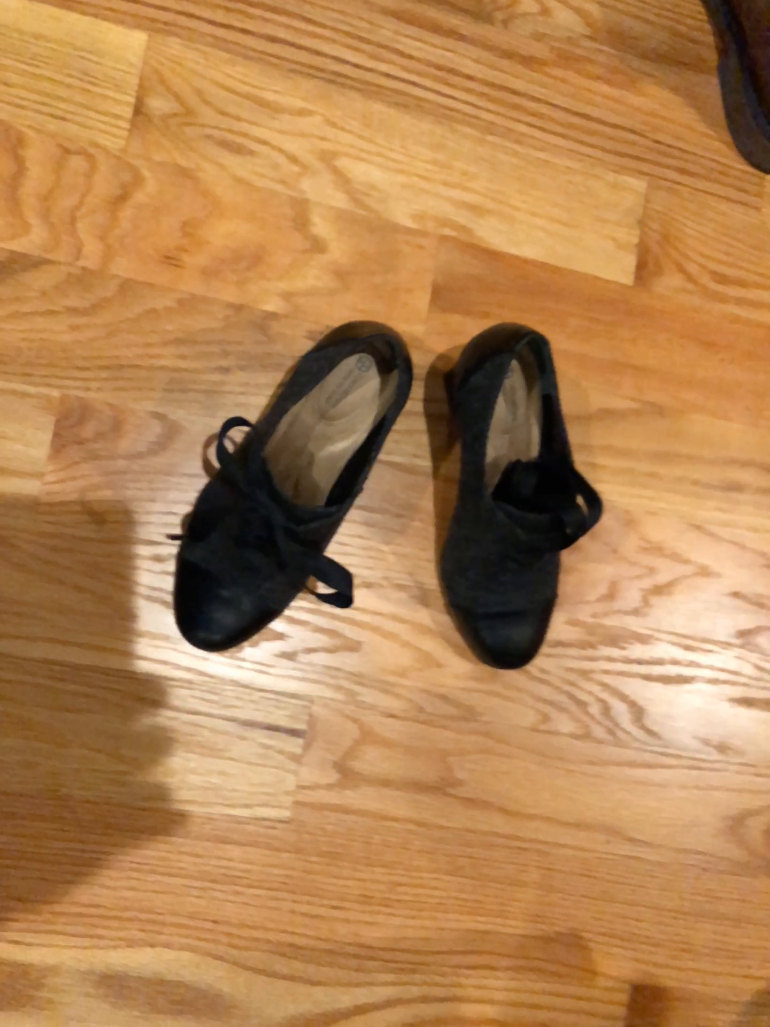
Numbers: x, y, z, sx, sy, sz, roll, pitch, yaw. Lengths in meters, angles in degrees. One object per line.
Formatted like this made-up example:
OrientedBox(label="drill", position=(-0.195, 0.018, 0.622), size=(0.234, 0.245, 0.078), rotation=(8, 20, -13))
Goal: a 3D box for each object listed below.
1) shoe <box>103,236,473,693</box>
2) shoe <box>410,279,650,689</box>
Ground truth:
OrientedBox(label="shoe", position=(-0.058, -0.025, 0.504), size=(0.093, 0.125, 0.223), rotation=(31, 81, -9))
OrientedBox(label="shoe", position=(0.083, -0.016, 0.535), size=(0.088, 0.125, 0.223), rotation=(-4, 88, -13))
